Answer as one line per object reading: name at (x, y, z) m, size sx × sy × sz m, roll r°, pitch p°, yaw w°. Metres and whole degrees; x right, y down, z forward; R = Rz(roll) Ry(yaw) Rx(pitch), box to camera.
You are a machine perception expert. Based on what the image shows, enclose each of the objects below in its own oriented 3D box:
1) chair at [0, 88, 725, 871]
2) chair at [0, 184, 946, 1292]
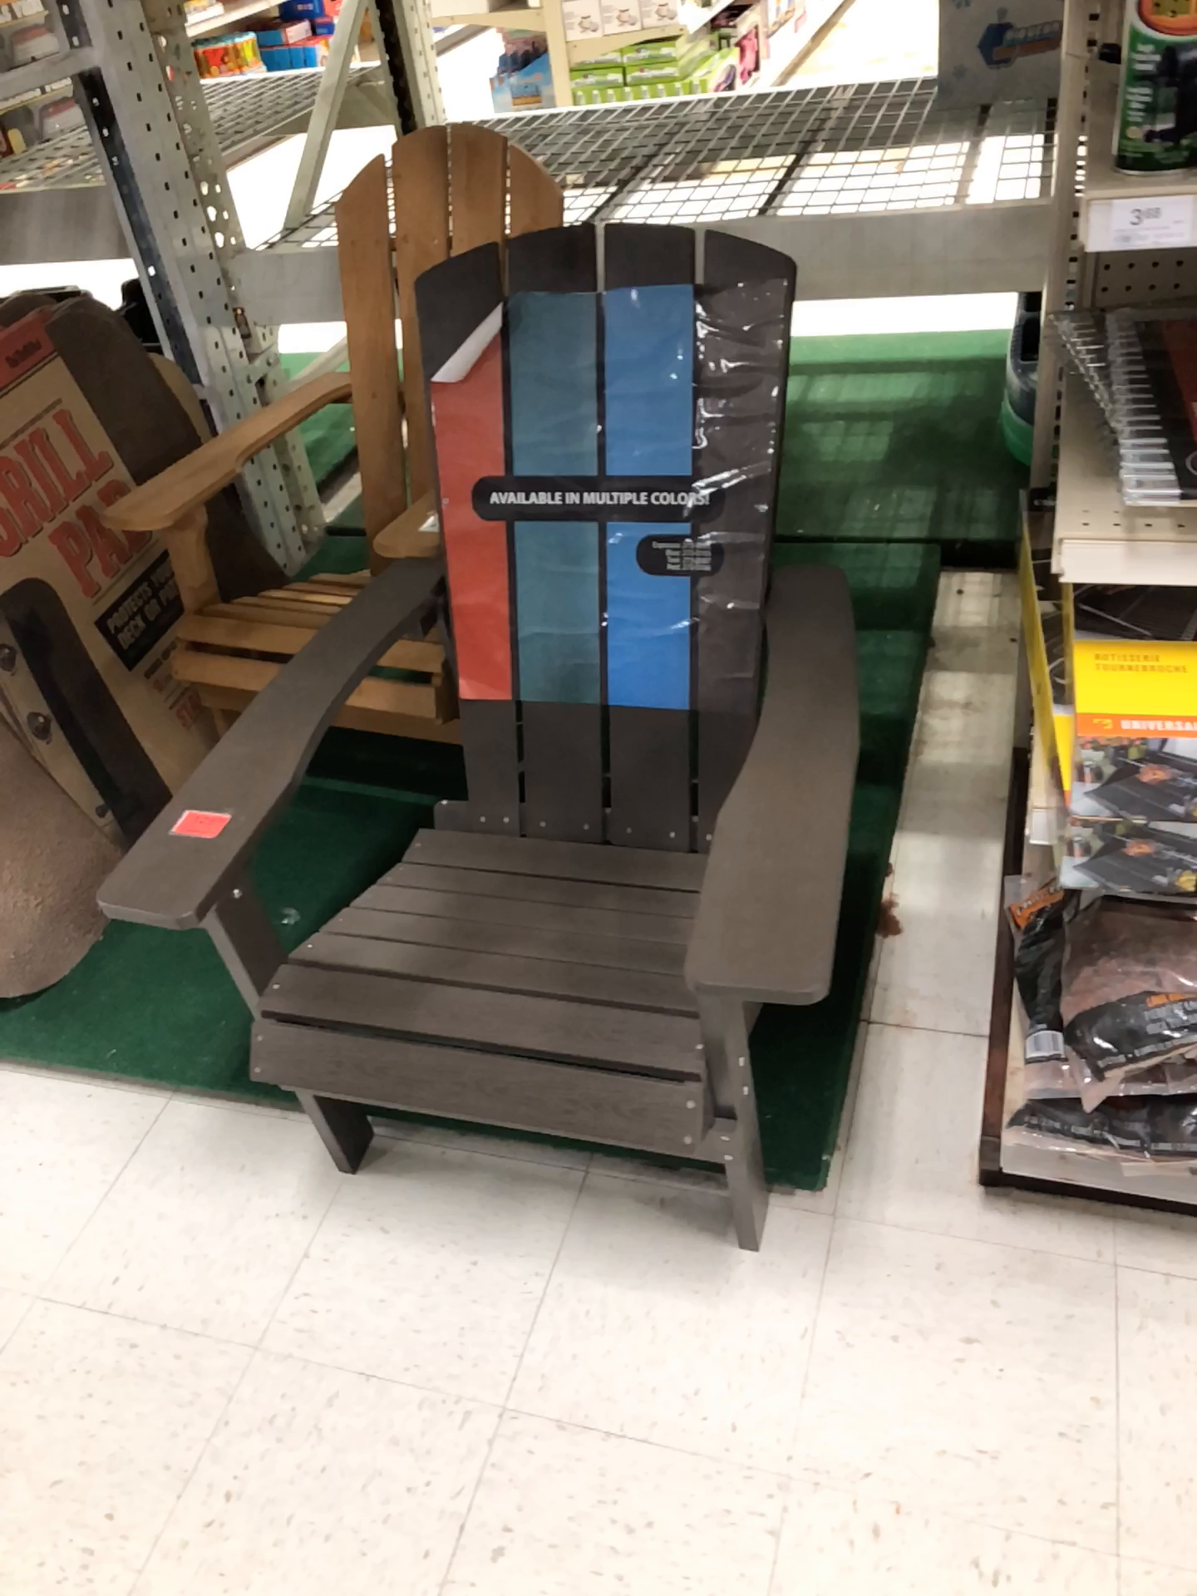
chair at (-0.282, -0.565, 2.165) m, size 0.638 × 0.846 × 0.979 m, roll 9°, pitch 41°, yaw 23°
chair at (-0.020, -0.131, 1.534) m, size 0.717 × 0.816 × 0.919 m, roll 5°, pitch 40°, yaw 18°
